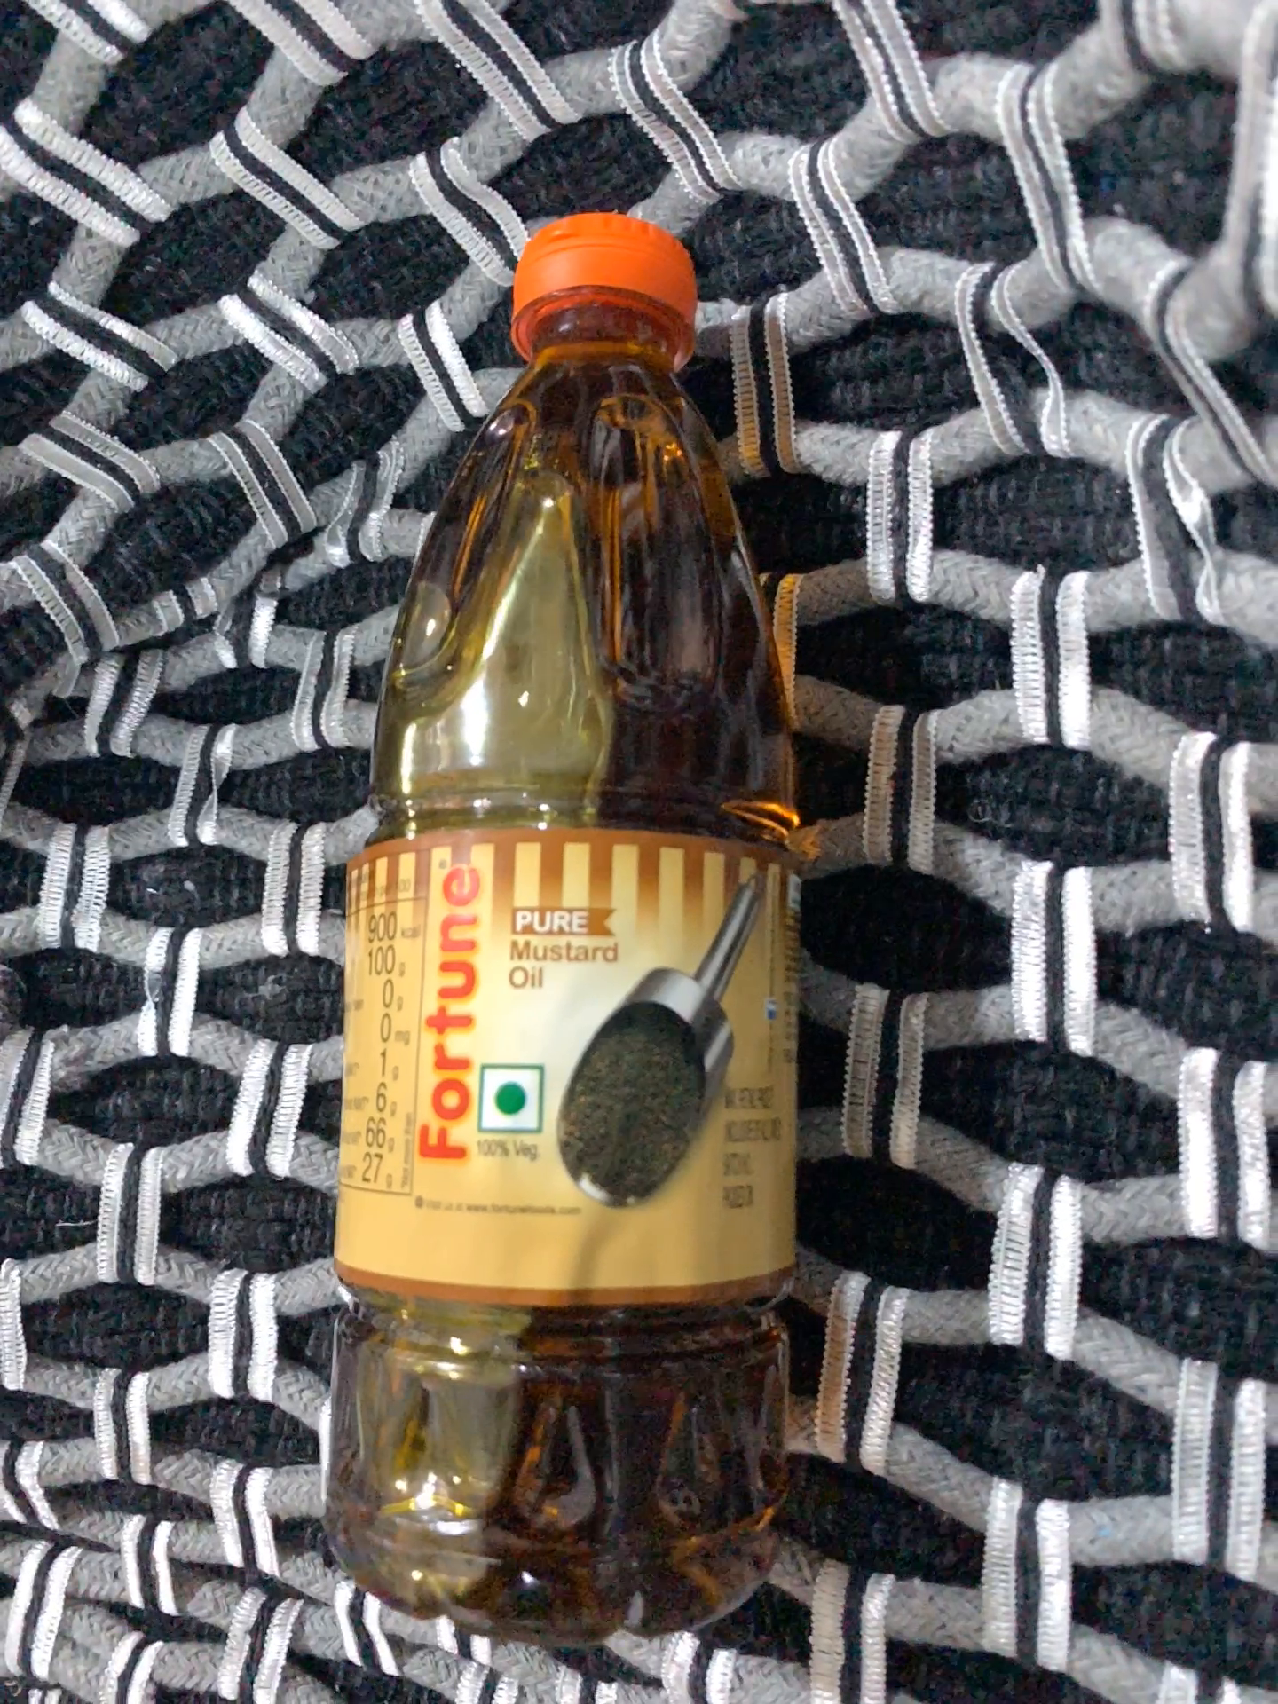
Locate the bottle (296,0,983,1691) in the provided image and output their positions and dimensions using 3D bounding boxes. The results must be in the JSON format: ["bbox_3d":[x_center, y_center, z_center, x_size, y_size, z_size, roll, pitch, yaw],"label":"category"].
[{"bbox_3d":[-0.001,-0.005,0.214,0.080,0.080,0.220,146,129,-70],"label":"bottle"}]
